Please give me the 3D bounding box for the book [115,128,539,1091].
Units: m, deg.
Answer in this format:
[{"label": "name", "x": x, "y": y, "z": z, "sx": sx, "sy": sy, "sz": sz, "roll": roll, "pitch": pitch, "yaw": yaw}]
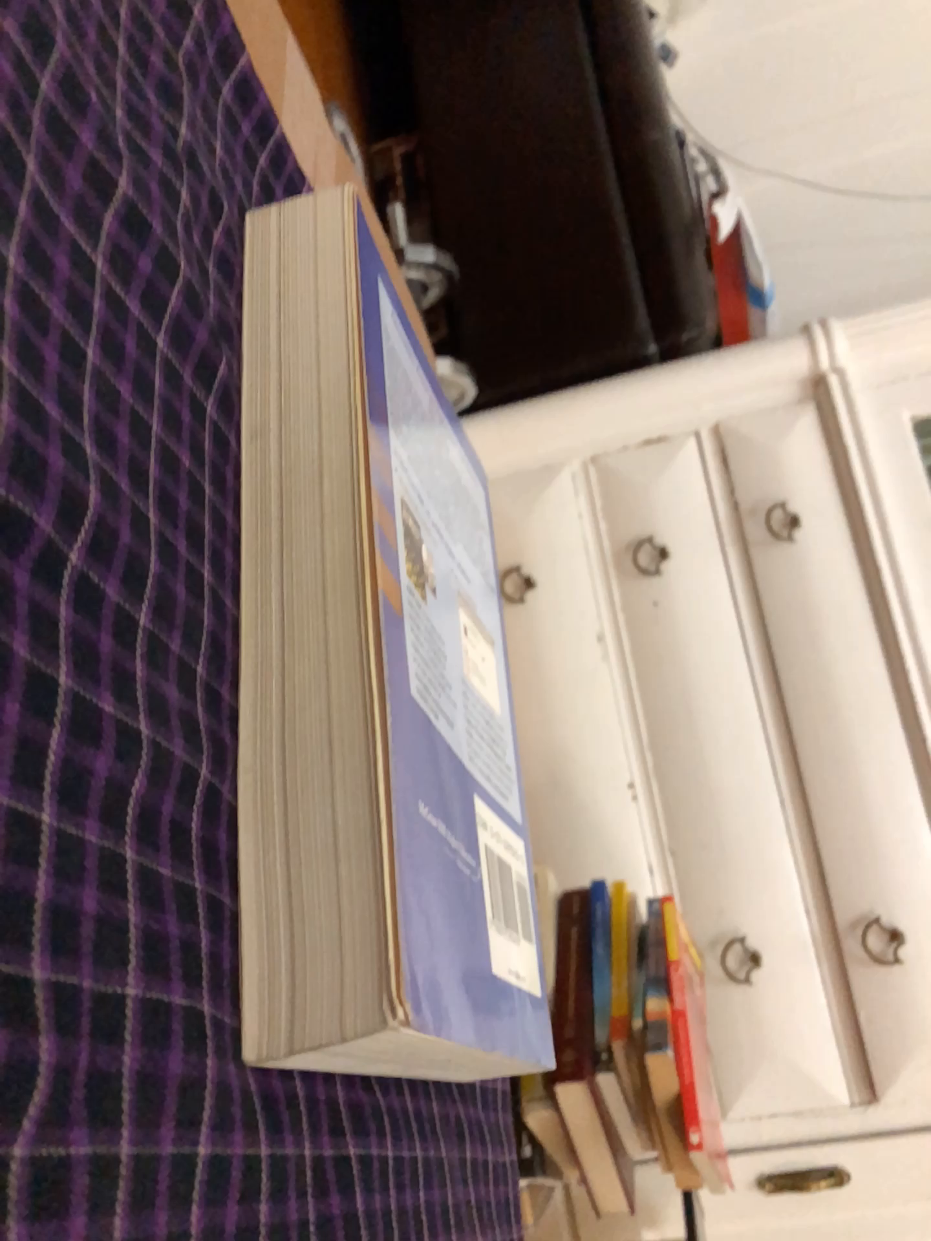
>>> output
[{"label": "book", "x": -0.033, "y": 0.010, "z": 0.317, "sx": 0.180, "sy": 0.040, "sz": 0.240, "roll": 55, "pitch": 25, "yaw": -61}]
